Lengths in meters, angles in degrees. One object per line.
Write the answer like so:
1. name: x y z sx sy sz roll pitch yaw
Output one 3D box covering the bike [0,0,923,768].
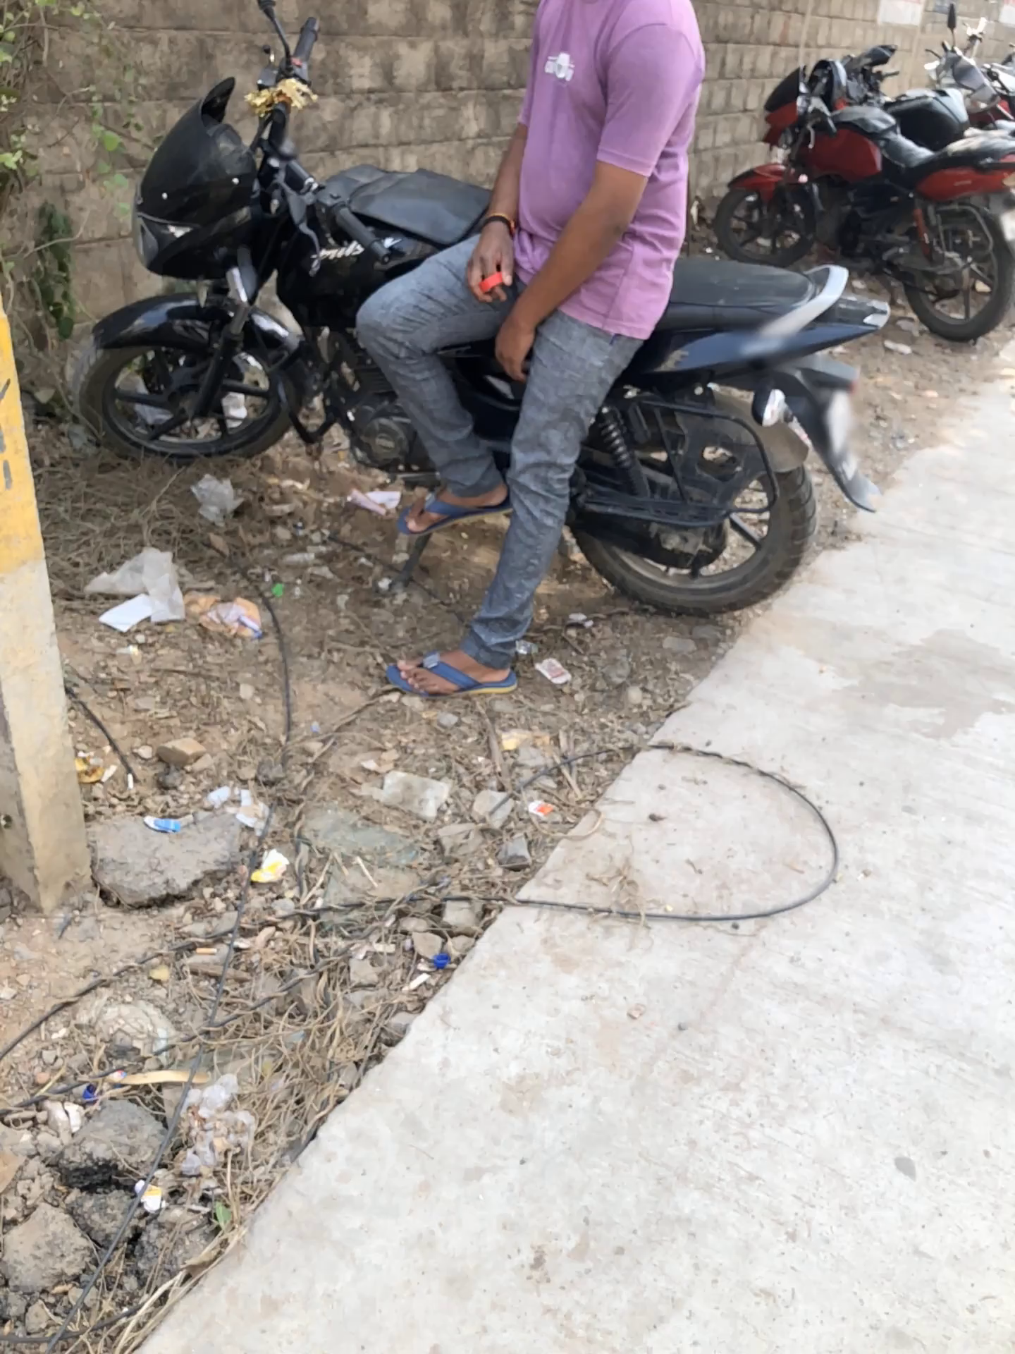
1. bike: -0.188 -0.714 2.410 1.810 1.215 0.819 11 31 7
